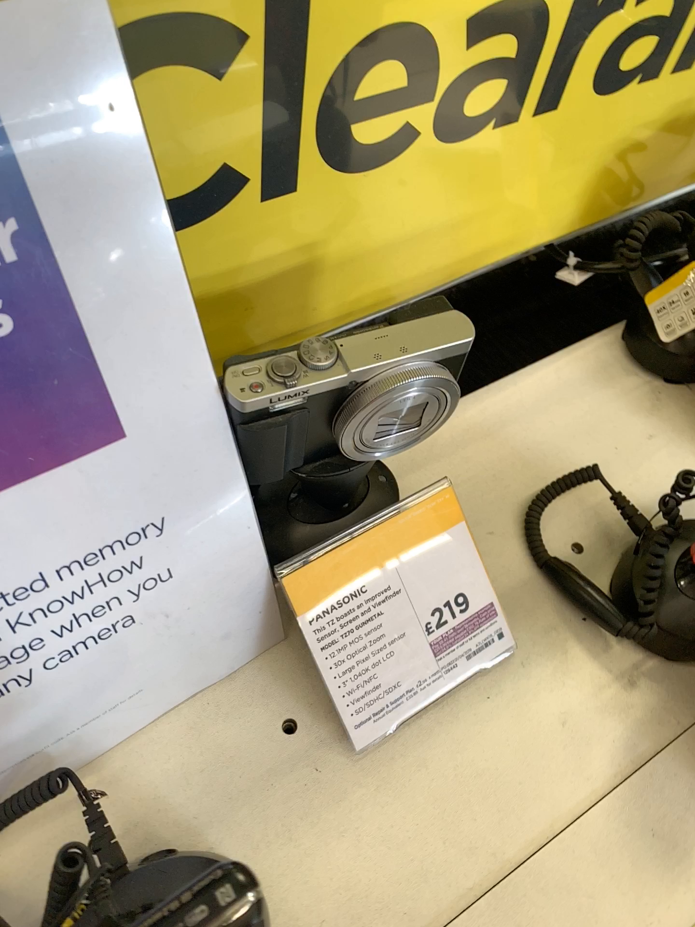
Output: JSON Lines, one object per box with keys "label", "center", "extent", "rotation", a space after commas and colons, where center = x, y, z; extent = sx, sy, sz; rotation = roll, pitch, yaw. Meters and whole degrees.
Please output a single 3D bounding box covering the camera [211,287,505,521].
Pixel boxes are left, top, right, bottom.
{"label": "camera", "center": [0.002, -0.025, 0.310], "extent": [0.110, 0.070, 0.040], "rotation": [-18, 62, -18]}
